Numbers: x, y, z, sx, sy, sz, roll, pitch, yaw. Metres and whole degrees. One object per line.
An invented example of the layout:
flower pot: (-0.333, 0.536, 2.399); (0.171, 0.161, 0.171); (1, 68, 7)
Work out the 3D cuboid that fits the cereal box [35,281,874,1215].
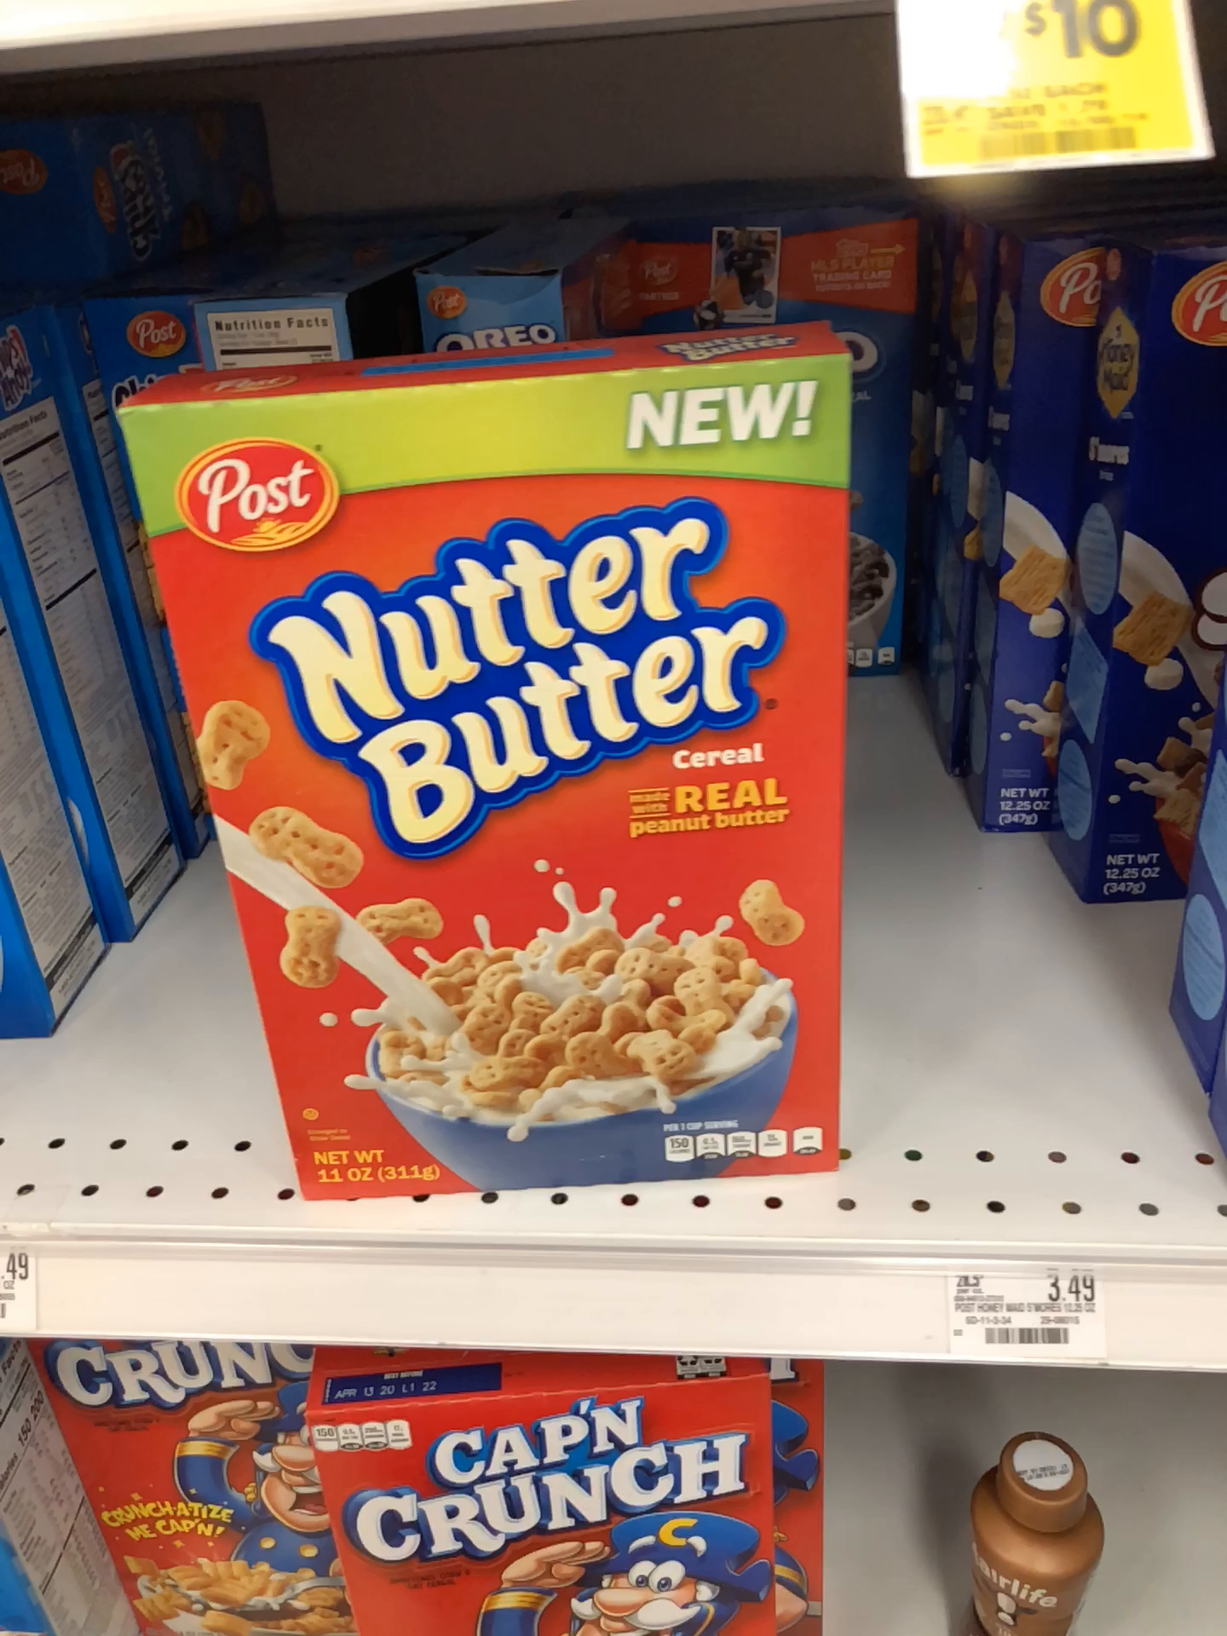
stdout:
cereal box: (-0.029, -0.009, 0.415); (0.200, 0.269, 0.070); (-4, 28, 2)
